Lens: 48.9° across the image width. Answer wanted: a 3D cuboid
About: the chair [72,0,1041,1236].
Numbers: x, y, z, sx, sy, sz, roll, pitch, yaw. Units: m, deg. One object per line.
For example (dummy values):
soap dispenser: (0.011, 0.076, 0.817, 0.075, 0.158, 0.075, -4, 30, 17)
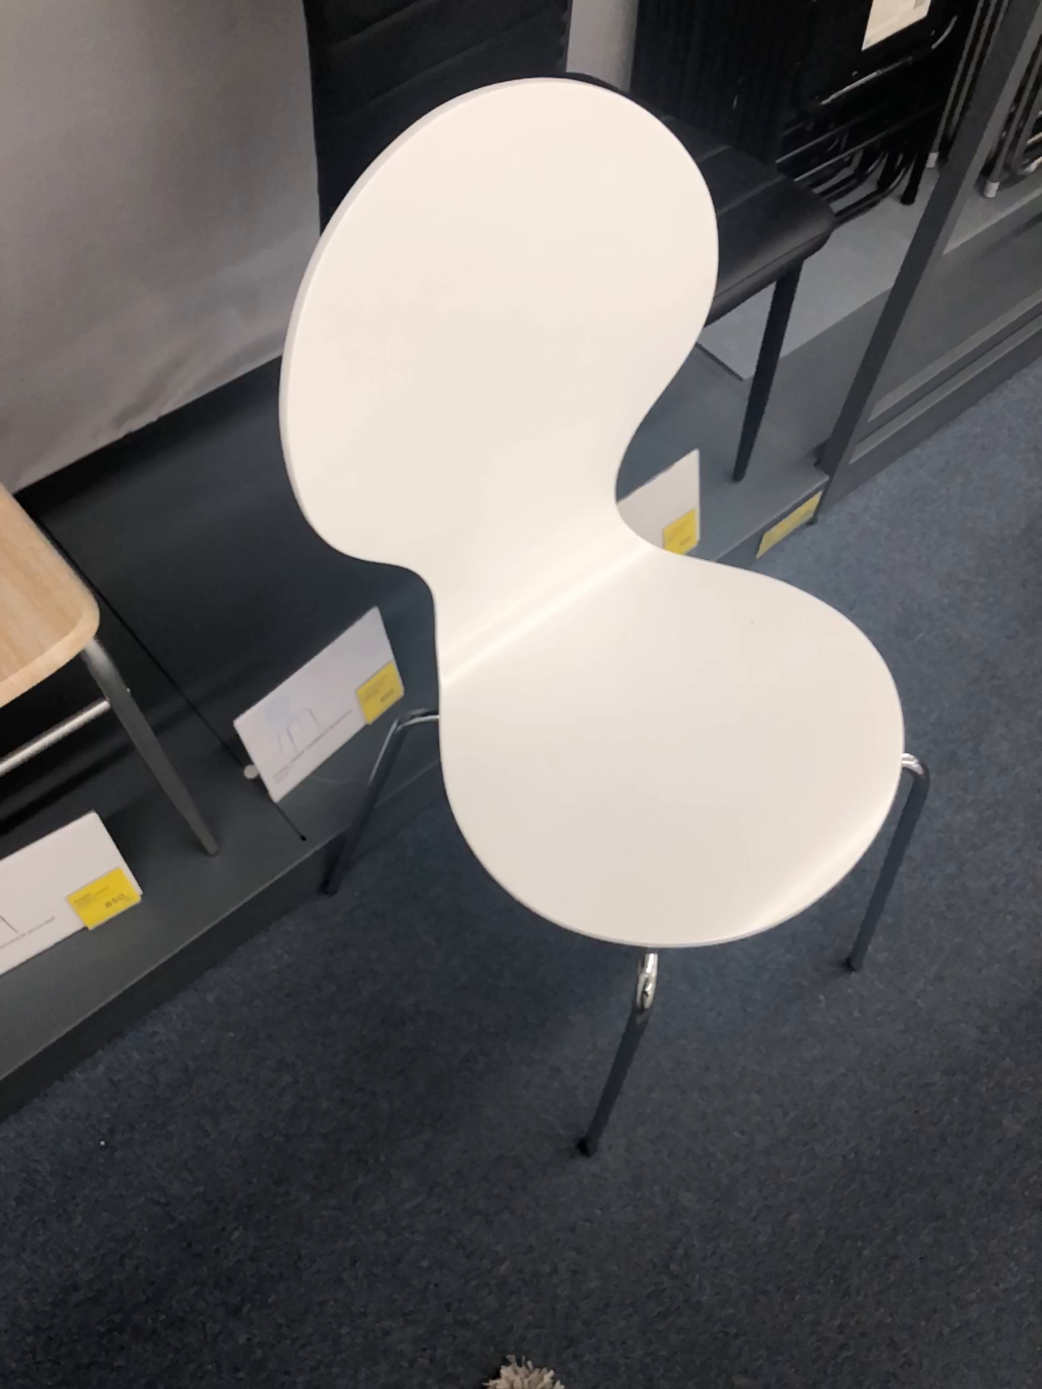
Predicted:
chair: (0.096, 0.021, 1.042, 0.561, 0.898, 0.540, -31, 66, -21)
